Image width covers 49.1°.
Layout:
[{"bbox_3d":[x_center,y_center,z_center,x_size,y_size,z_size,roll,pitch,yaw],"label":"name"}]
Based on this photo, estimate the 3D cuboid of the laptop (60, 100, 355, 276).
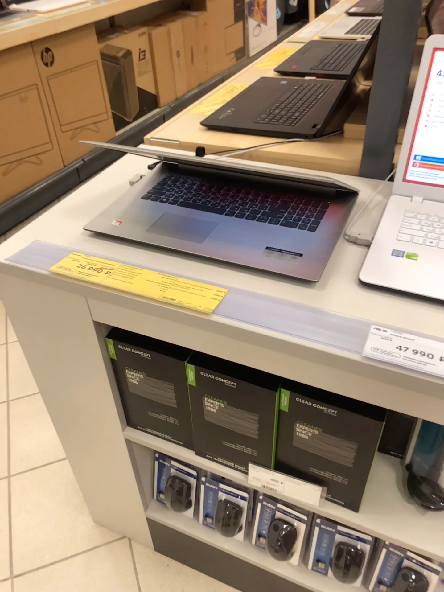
[{"bbox_3d":[-0.012,-0.205,0.819,0.398,0.129,0.277,14,42,20],"label":"laptop"}]
